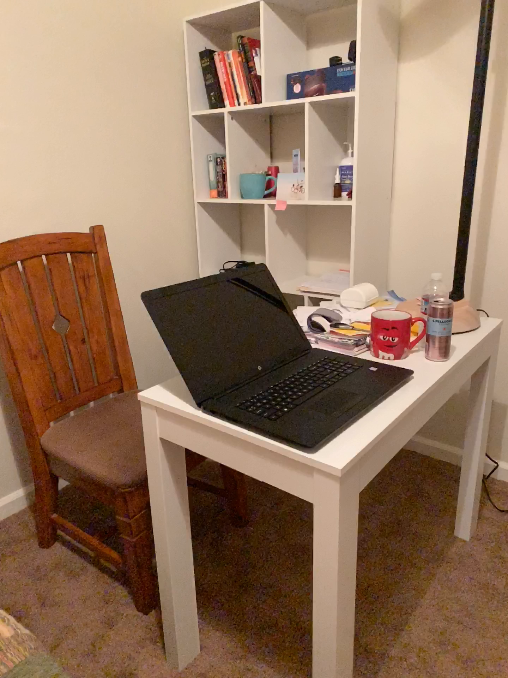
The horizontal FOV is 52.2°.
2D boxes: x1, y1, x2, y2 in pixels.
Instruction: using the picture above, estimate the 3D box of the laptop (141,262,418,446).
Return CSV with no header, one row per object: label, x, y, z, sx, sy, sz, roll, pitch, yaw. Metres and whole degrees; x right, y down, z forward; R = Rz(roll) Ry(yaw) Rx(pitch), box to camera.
laptop,0.060,-0.011,1.101,0.416,0.197,0.401,14,24,38
